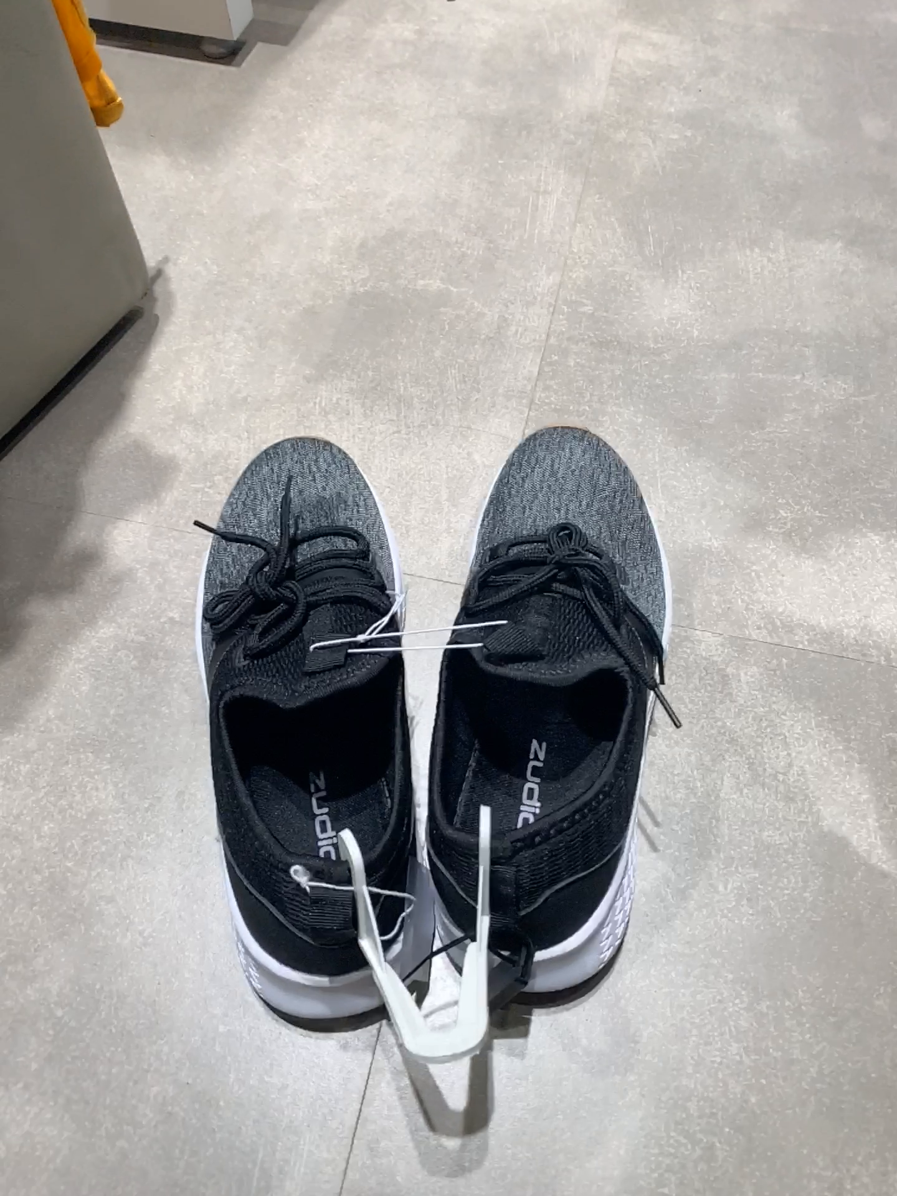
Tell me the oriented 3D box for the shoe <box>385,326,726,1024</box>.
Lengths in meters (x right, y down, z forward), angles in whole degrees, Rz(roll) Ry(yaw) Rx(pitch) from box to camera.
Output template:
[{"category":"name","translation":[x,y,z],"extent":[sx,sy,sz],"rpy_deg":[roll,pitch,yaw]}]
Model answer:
[{"category":"shoe","translation":[0.055,0.021,0.401],"extent":[0.107,0.096,0.278],"rpy_deg":[7,59,5]}]

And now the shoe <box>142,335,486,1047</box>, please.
[{"category":"shoe","translation":[-0.062,0.027,0.395],"extent":[0.106,0.096,0.279],"rpy_deg":[-8,59,-4]}]
